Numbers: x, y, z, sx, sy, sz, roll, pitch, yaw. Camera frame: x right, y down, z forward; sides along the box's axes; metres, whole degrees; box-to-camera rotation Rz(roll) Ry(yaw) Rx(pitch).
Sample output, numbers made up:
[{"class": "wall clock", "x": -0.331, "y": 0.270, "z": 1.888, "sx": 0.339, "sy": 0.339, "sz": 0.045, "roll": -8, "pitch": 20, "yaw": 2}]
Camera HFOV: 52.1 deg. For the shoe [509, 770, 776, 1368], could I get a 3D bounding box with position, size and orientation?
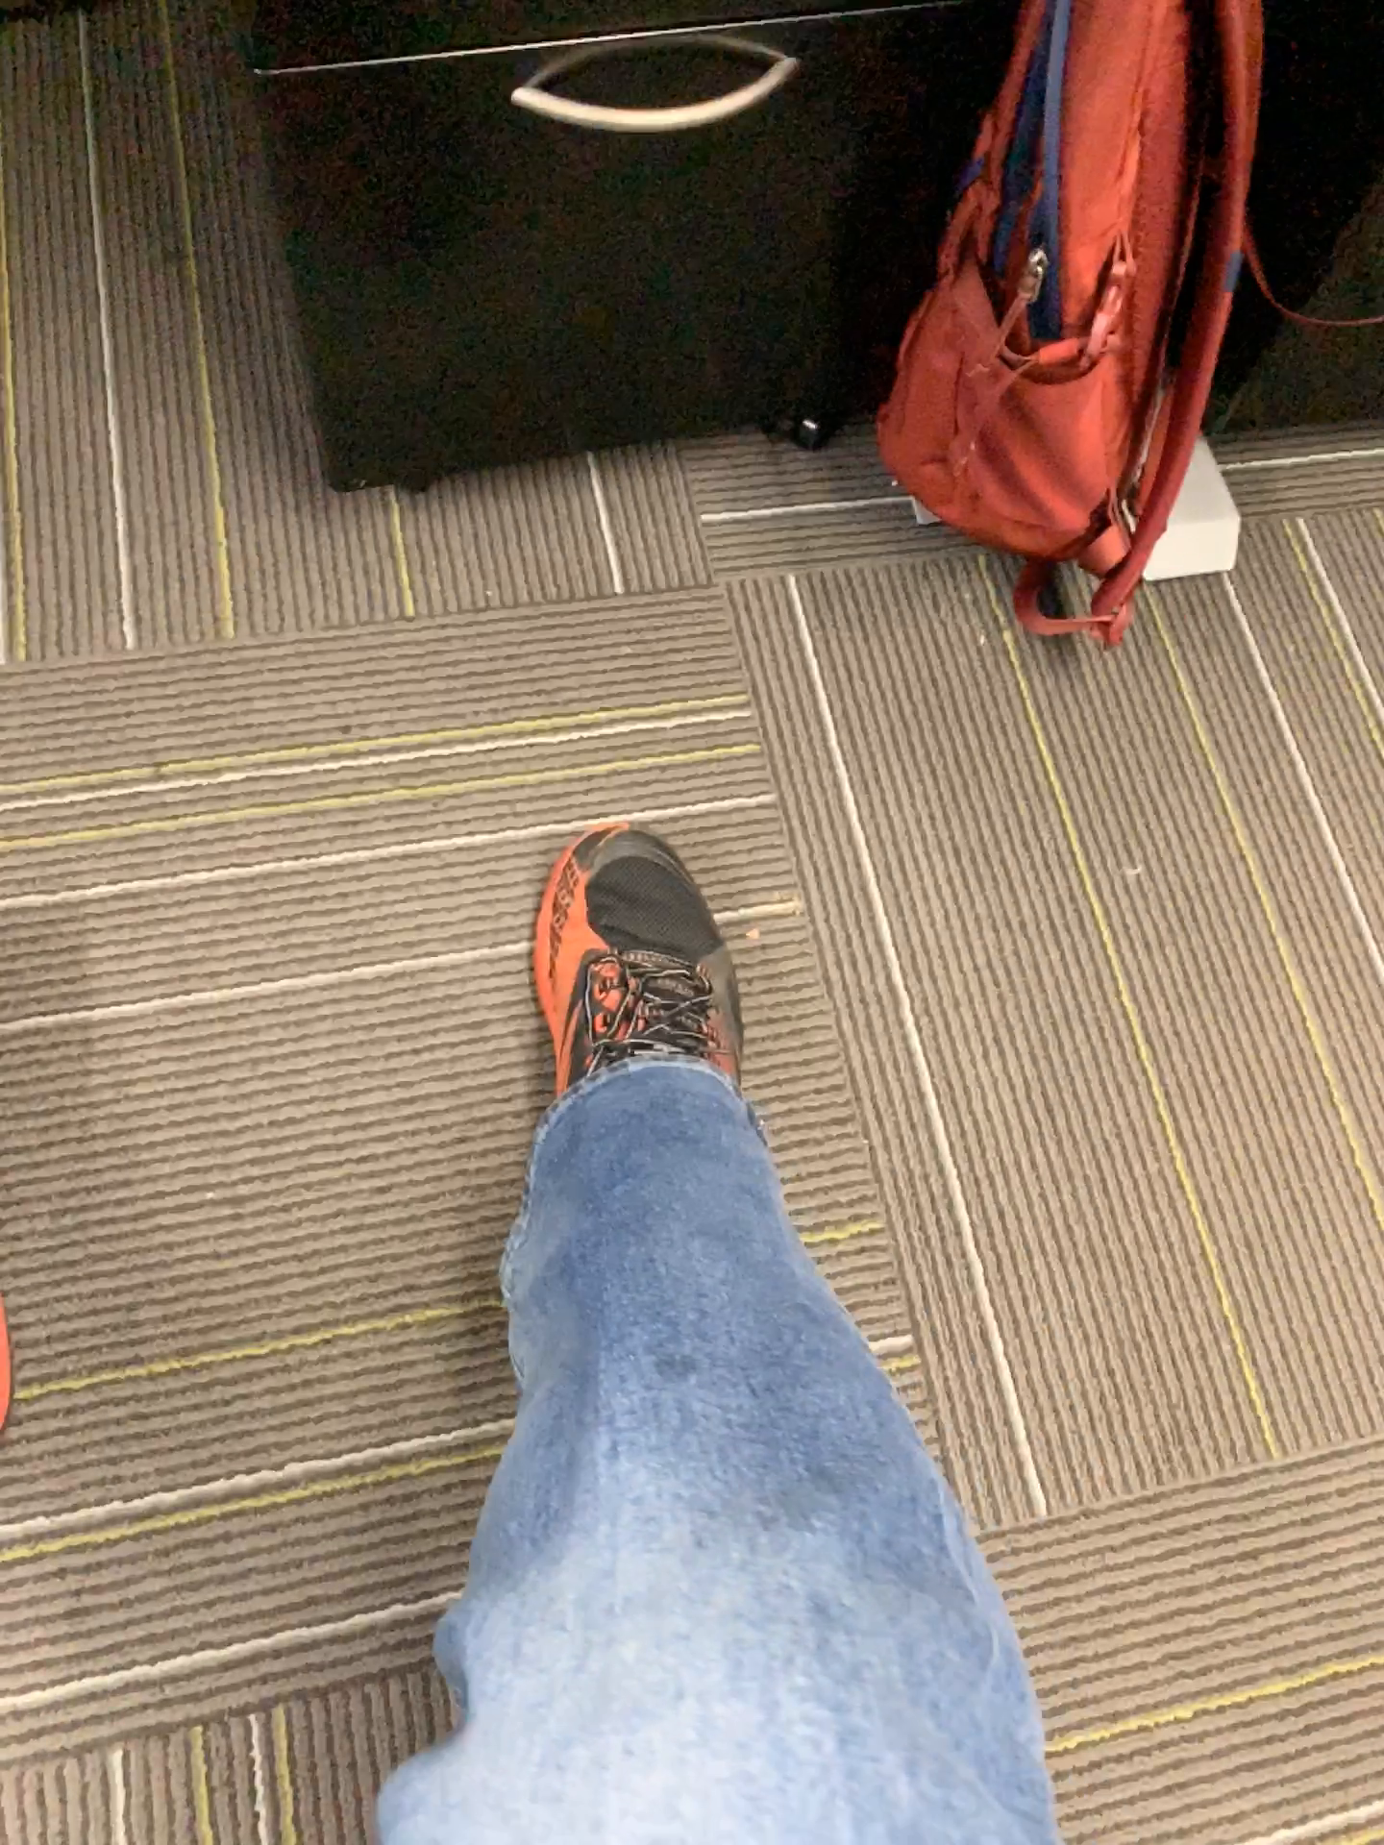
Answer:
[{"class": "shoe", "x": -0.030, "y": 0.077, "z": 0.785, "sx": 0.130, "sy": 0.077, "sz": 0.318, "roll": 2, "pitch": 68, "yaw": -6}]
